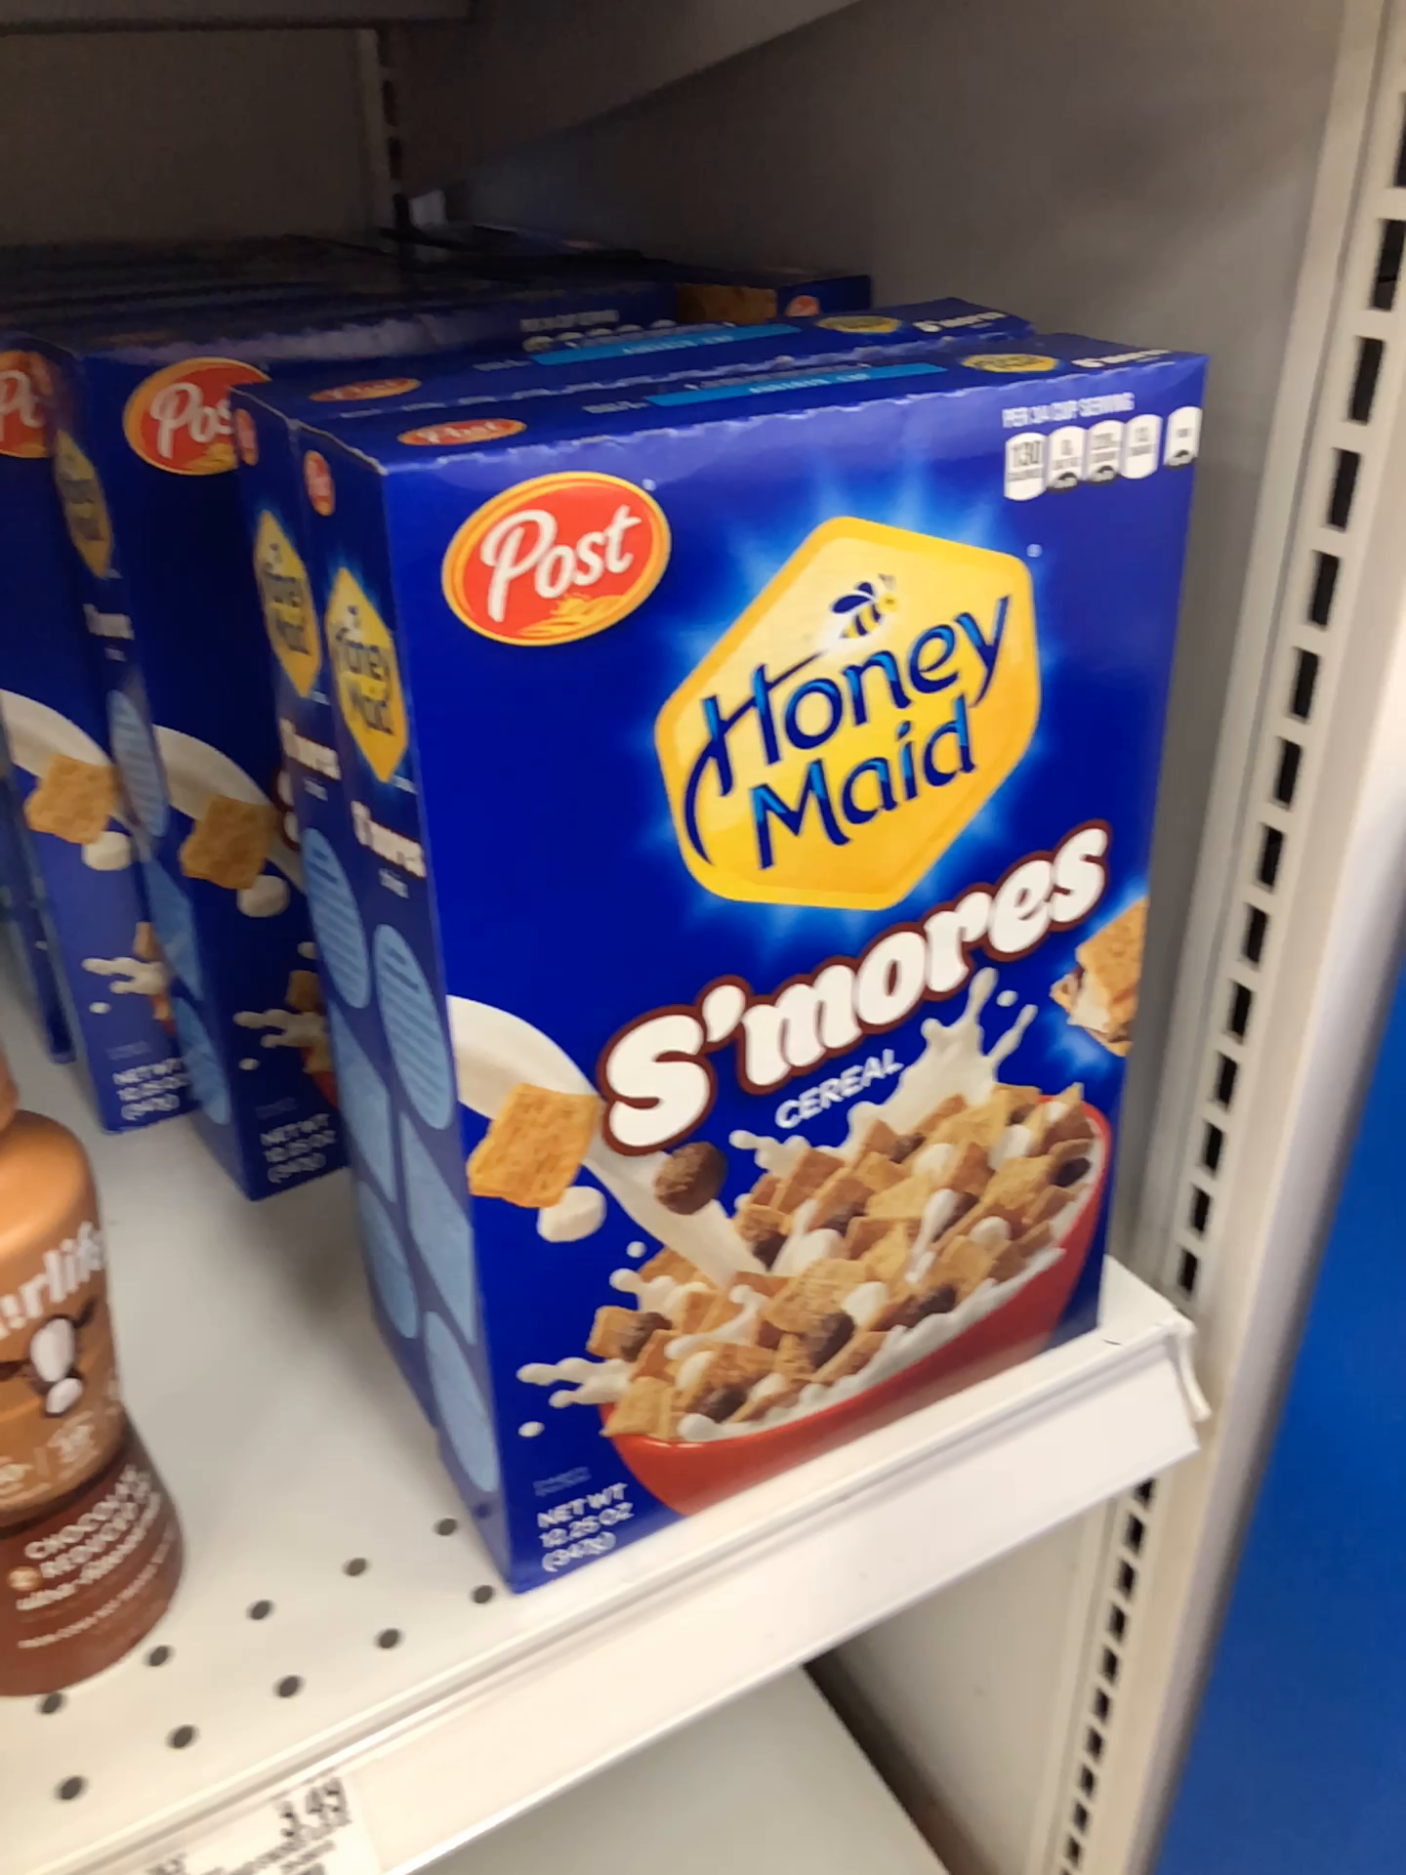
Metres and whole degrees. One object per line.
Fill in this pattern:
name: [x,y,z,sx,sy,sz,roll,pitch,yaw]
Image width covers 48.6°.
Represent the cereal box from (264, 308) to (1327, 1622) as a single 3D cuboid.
cereal box: [0.023,0.006,0.371,0.200,0.269,0.070,-15,33,-25]
